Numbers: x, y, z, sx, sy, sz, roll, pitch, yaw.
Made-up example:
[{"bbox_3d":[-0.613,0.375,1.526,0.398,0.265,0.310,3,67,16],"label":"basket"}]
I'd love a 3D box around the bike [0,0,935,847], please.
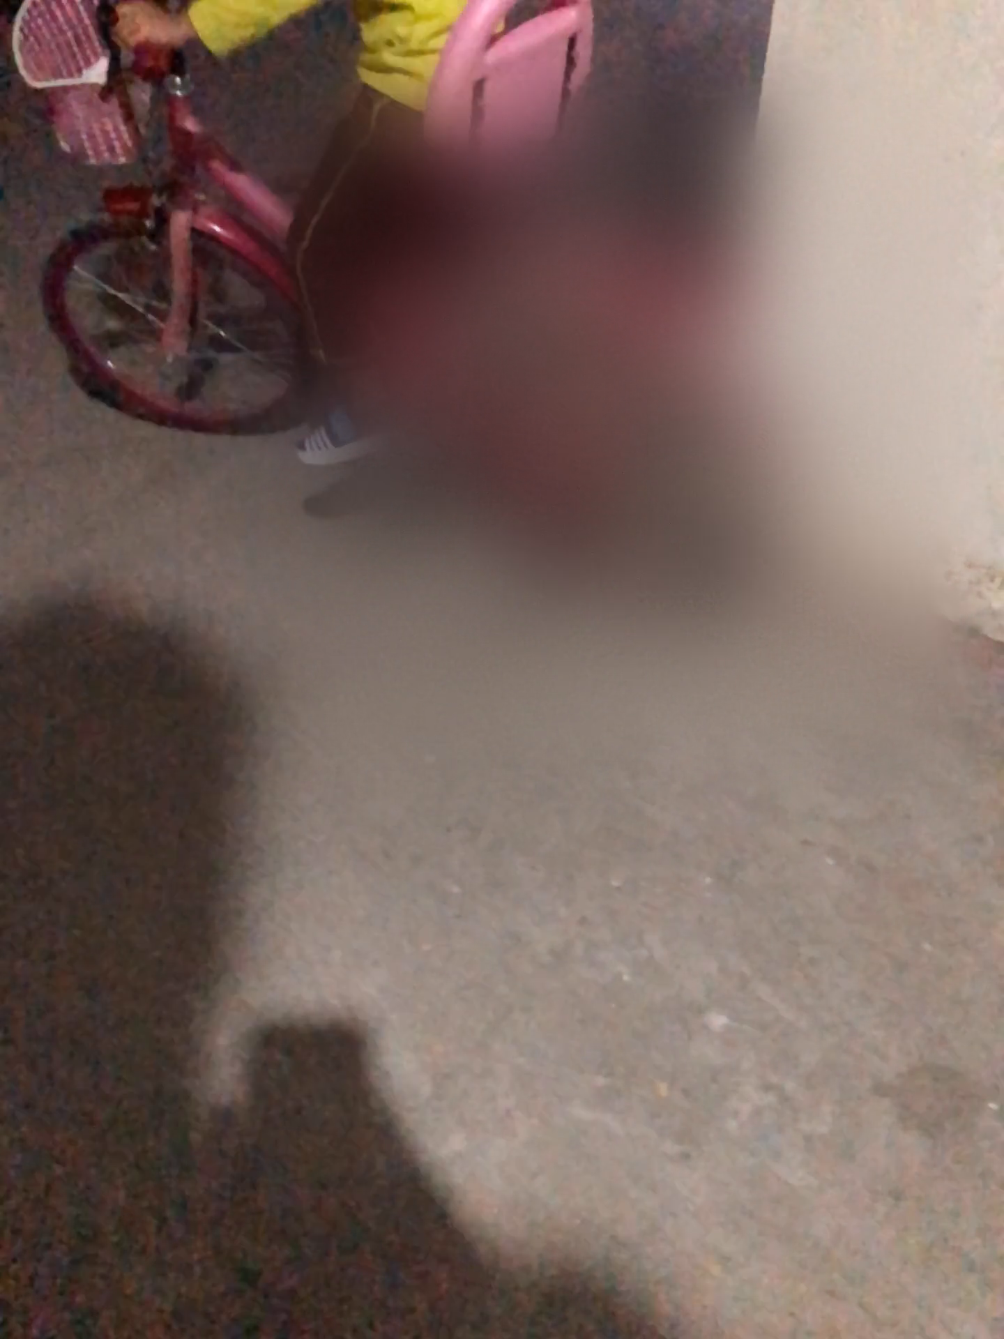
[{"bbox_3d":[-0.299,-0.503,1.395,1.277,0.910,0.497,23,43,22],"label":"bike"}]
